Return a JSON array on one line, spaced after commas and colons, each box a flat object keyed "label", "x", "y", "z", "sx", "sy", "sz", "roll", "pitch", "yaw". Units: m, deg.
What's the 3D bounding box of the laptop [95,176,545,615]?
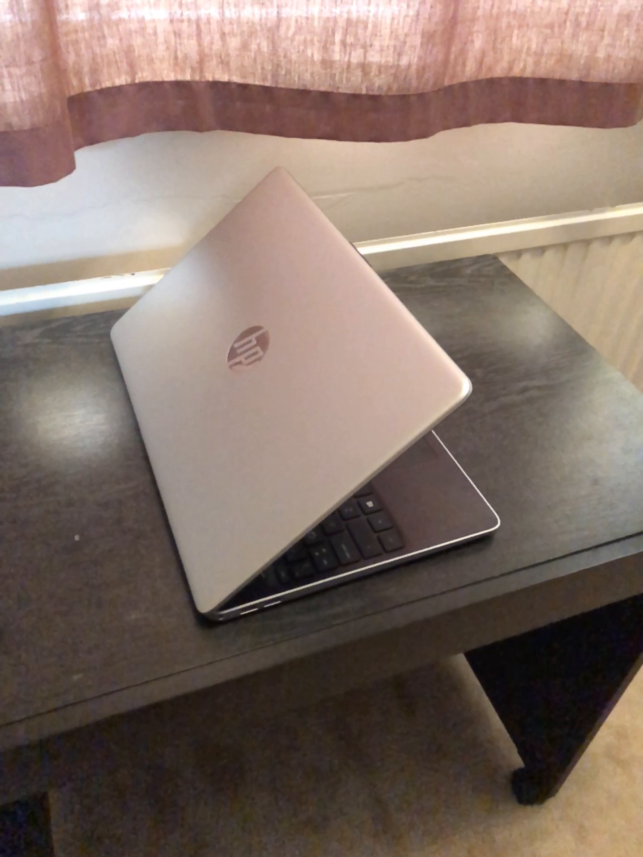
[{"label": "laptop", "x": -0.029, "y": -0.066, "z": 0.598, "sx": 0.237, "sy": 0.141, "sz": 0.363, "roll": -12, "pitch": 44, "yaw": -20}]
